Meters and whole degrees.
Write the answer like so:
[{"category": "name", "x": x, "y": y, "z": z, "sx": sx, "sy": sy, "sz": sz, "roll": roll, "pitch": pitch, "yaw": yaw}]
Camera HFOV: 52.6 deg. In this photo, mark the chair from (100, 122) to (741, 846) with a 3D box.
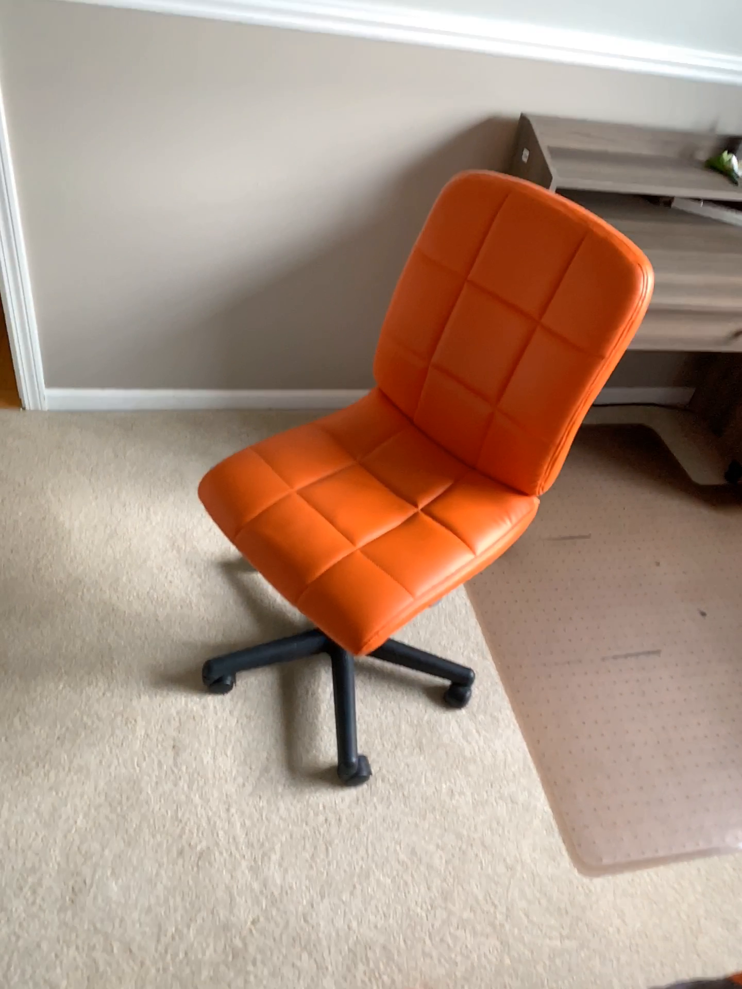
[{"category": "chair", "x": -0.003, "y": -0.023, "z": 1.262, "sx": 0.601, "sy": 0.904, "sz": 0.595, "roll": -24, "pitch": 54, "yaw": -33}]
